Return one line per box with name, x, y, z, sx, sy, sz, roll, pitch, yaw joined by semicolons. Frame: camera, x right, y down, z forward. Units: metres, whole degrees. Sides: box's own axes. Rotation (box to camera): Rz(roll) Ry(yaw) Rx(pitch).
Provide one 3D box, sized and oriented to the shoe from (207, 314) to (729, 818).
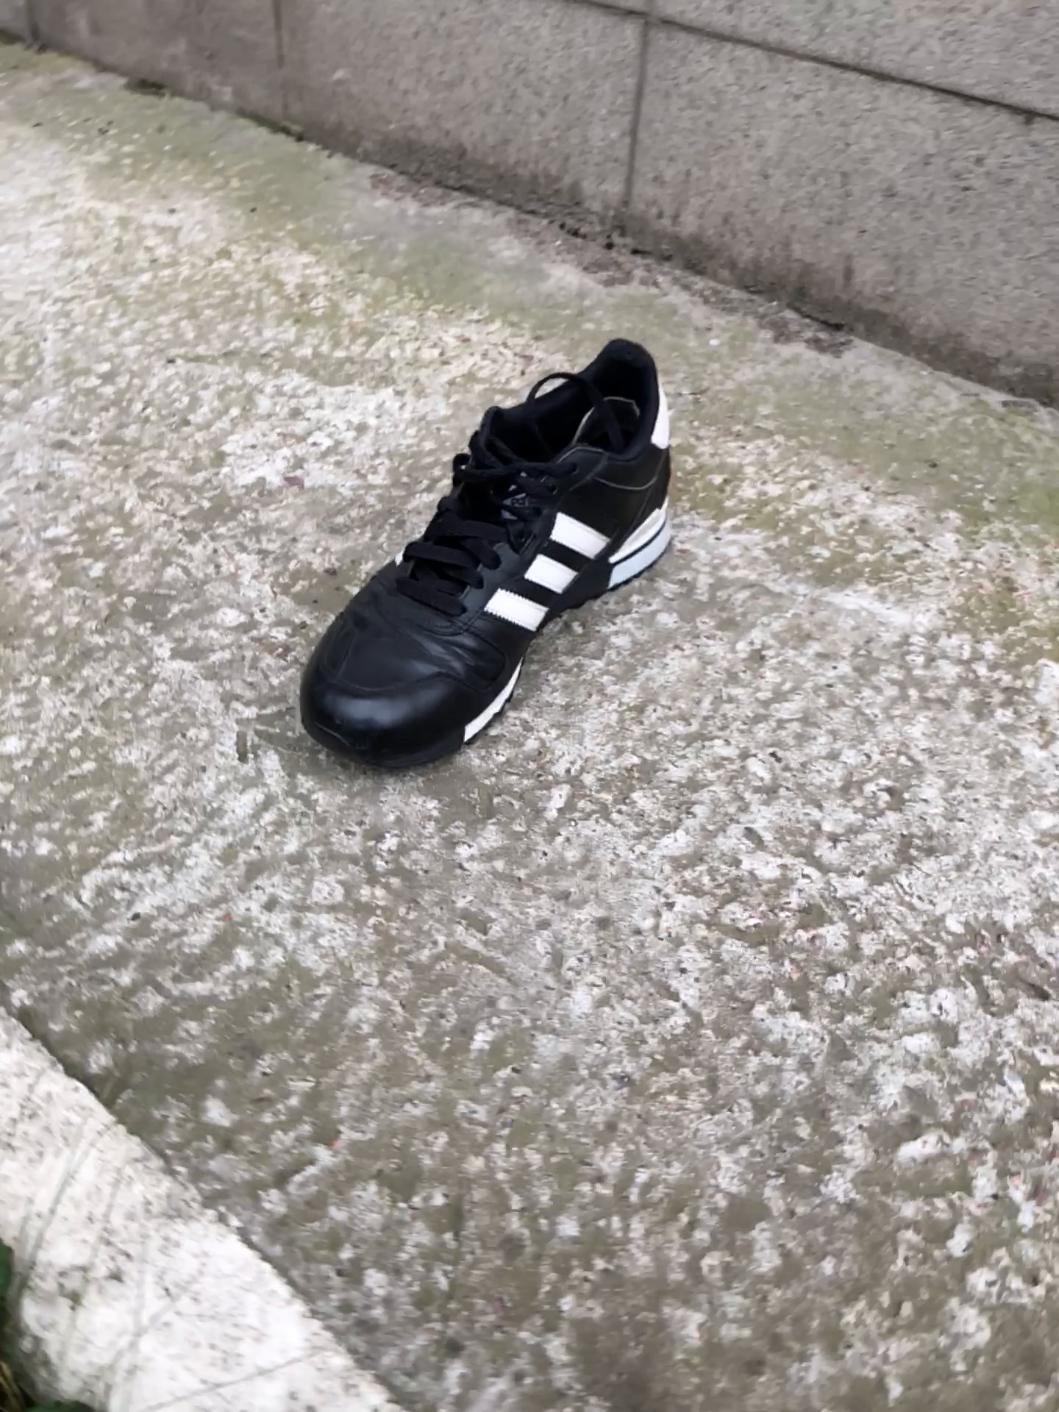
shoe;-0.018;-0.087;0.606;0.100;0.119;0.281;28;48;24
